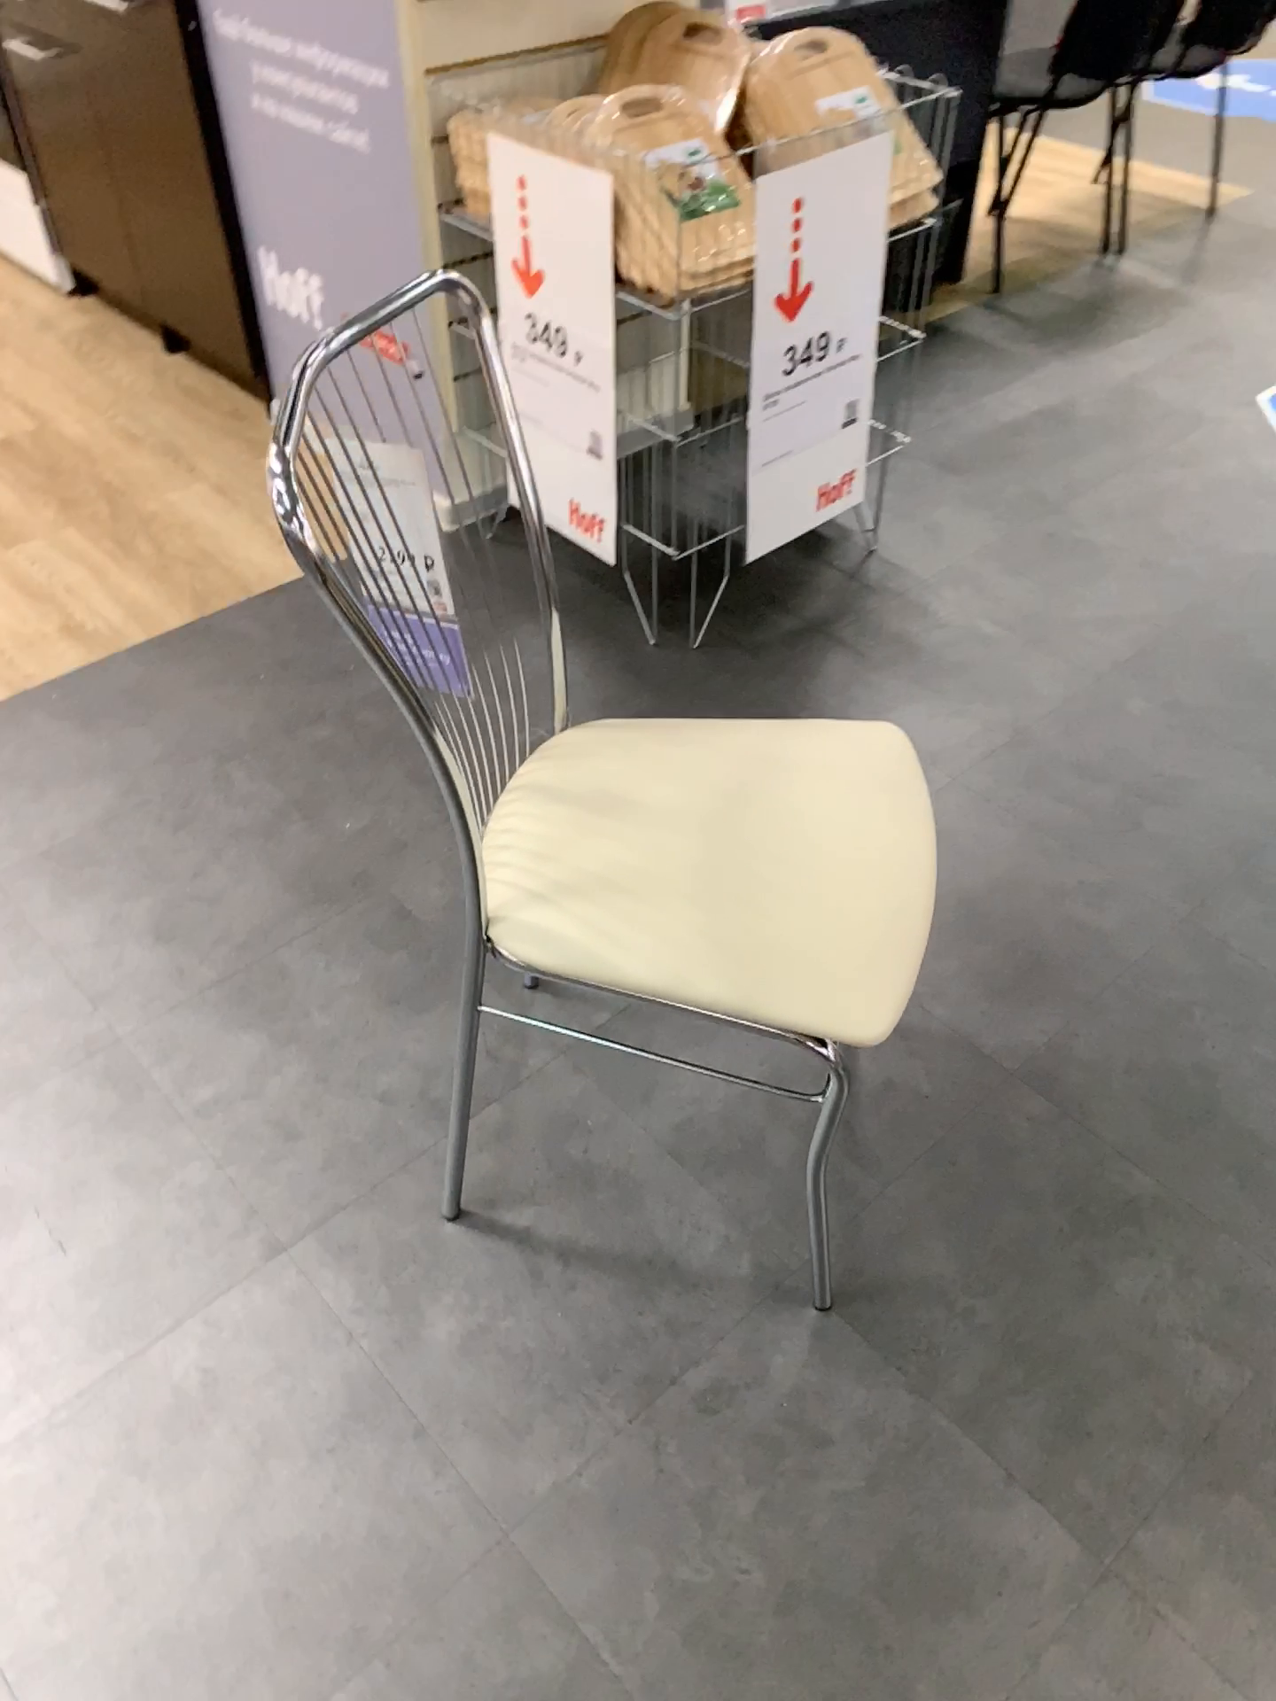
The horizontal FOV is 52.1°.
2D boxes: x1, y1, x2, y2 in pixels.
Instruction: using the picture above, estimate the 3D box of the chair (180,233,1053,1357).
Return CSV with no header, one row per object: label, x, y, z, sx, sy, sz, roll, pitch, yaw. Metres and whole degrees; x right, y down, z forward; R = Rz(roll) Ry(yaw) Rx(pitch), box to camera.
chair,0.022,-0.007,1.297,0.552,0.966,0.474,9,43,9
